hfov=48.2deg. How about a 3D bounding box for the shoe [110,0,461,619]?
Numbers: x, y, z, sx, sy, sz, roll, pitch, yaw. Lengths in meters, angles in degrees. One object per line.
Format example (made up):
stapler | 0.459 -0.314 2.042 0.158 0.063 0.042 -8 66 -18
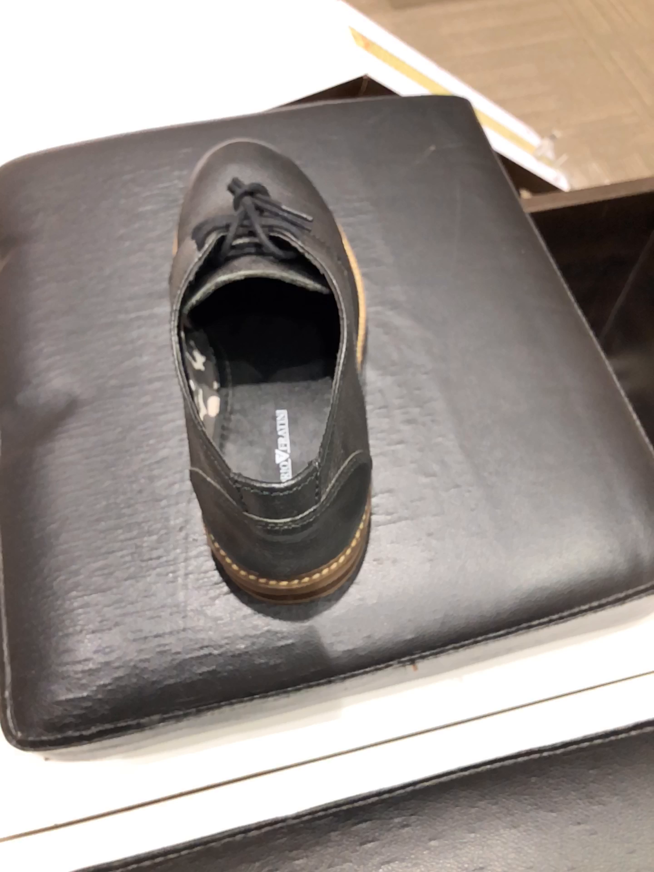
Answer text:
shoe | -0.033 -0.079 0.346 0.110 0.100 0.291 -8 60 -4
